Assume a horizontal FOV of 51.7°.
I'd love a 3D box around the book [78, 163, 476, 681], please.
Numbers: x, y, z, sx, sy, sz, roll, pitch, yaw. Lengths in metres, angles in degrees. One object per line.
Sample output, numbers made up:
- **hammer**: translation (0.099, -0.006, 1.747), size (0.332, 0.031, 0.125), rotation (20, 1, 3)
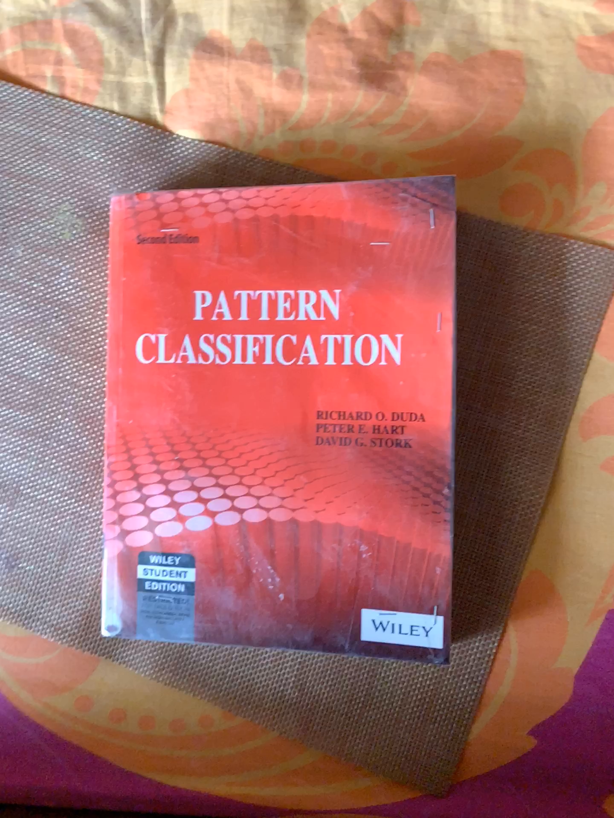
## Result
- **book**: translation (-0.014, 0.003, 0.314), size (0.180, 0.040, 0.230), rotation (2, 89, 8)
